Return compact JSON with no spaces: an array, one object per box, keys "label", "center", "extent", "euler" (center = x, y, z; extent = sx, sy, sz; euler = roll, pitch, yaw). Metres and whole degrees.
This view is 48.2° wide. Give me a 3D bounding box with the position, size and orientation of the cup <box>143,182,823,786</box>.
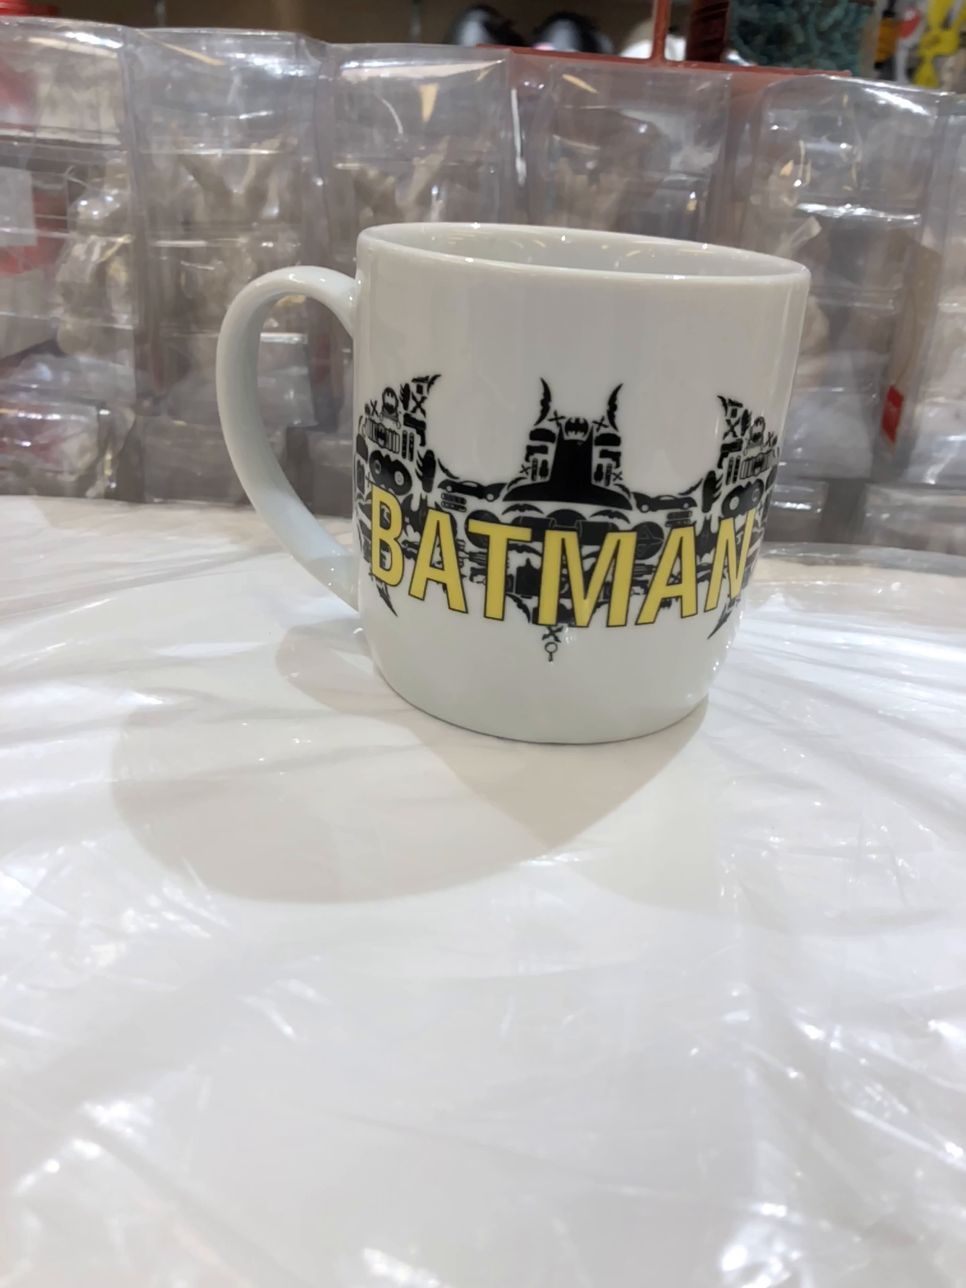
[{"label":"cup","center":[0.004,-0.041,0.221],"extent":[0.110,0.089,0.081],"euler":[11,25,13]}]
